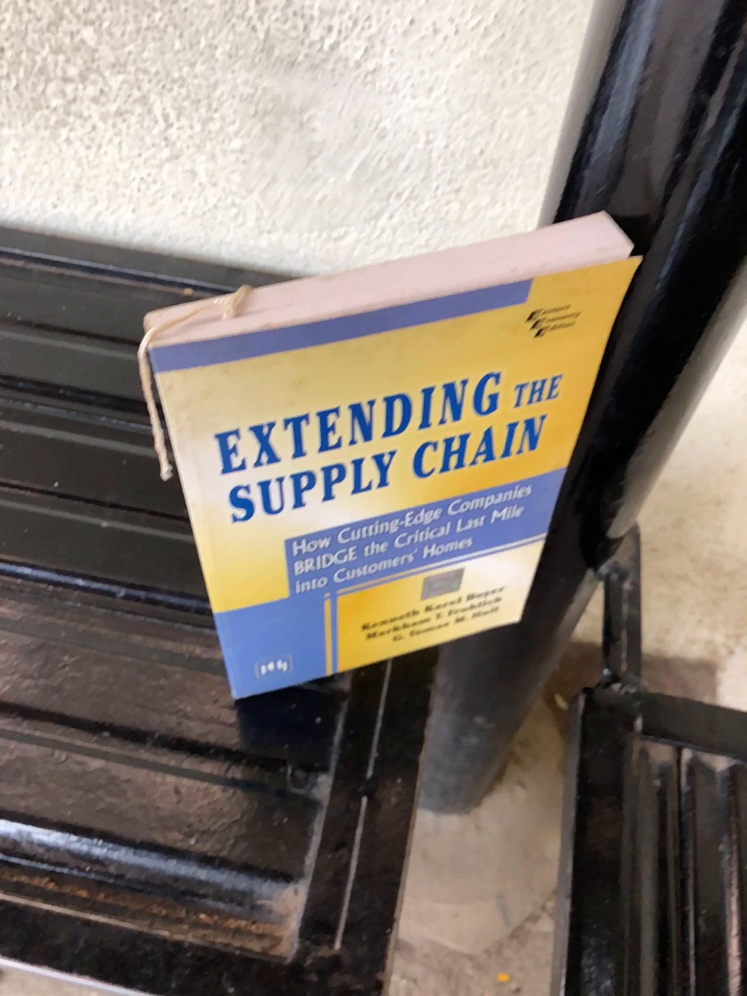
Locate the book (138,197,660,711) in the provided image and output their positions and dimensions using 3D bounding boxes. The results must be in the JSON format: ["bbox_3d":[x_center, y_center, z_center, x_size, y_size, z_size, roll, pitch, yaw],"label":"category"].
[{"bbox_3d":[0.004,0.002,0.331,0.150,0.229,0.030,-12,53,-13],"label":"book"}]
